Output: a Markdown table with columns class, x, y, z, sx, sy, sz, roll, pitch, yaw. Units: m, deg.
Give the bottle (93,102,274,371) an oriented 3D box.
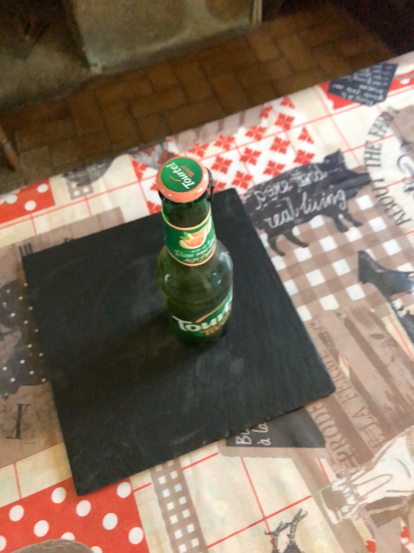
| class | x | y | z | sx | sy | sz | roll | pitch | yaw |
| --- | --- | --- | --- | --- | --- | --- | --- | --- | --- |
| bottle | -0.009 | -0.005 | 0.335 | 0.070 | 0.229 | 0.060 | -31 | 67 | -13 |
